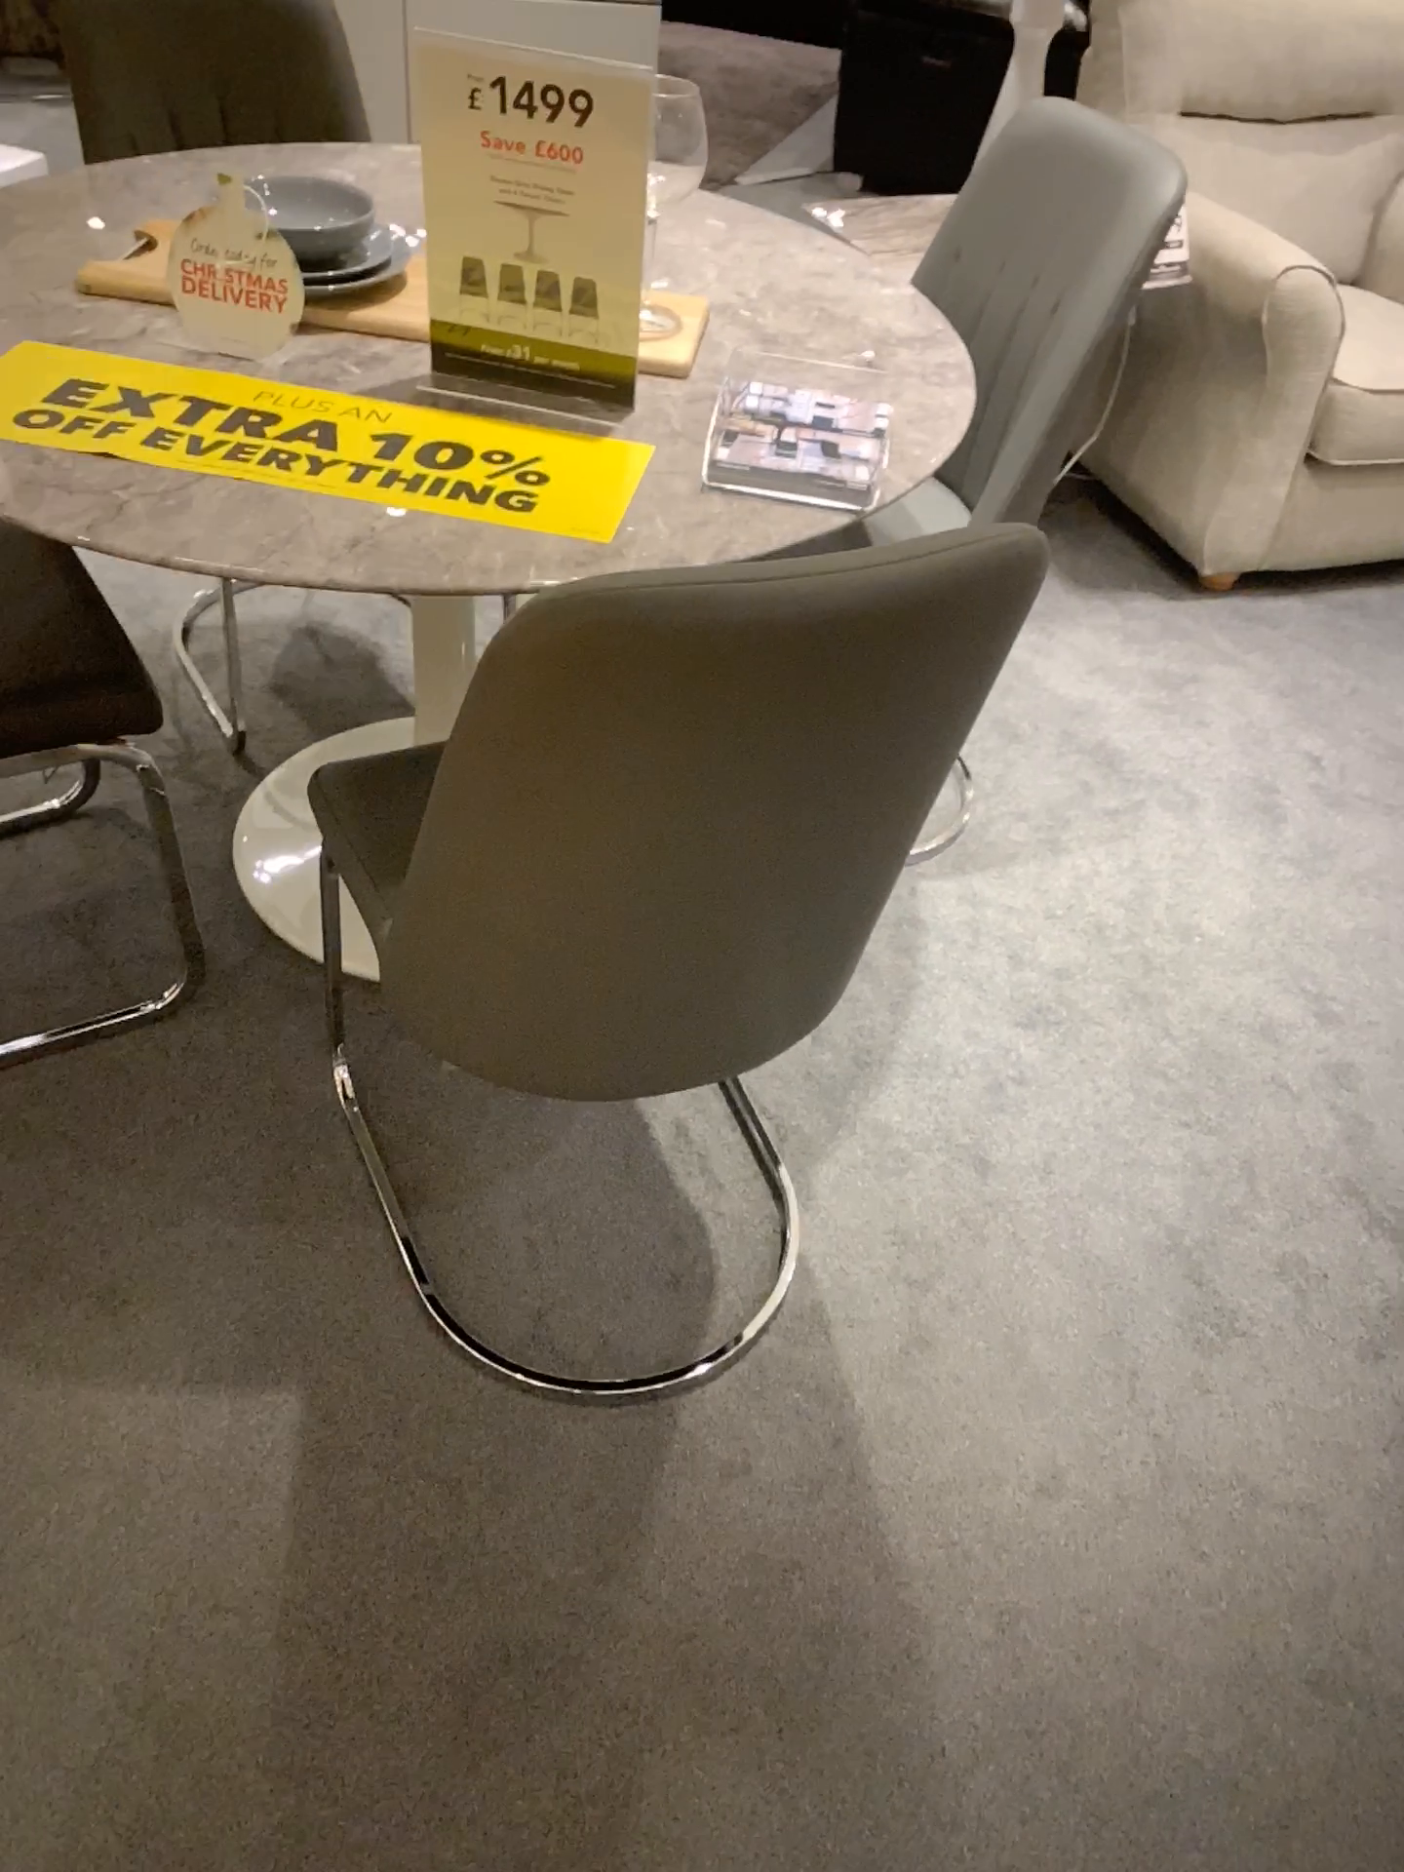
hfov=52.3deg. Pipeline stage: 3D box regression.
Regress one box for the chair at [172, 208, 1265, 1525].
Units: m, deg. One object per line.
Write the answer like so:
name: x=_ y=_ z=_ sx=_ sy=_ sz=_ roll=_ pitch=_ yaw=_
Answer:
chair: x=-0.073 y=-0.067 z=1.269 sx=0.551 sy=0.883 sz=0.633 roll=-12 pitch=45 yaw=-20

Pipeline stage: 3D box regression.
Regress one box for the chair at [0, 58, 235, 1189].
chair: x=-0.897 y=-0.314 z=1.447 sx=0.580 sy=0.883 sz=0.524 roll=-18 pitch=47 yaw=-26

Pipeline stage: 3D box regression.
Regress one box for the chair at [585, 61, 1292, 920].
chair: x=0.216 y=-0.571 z=1.870 sx=0.579 sy=0.883 sz=0.524 roll=-11 pitch=44 yaw=-19
